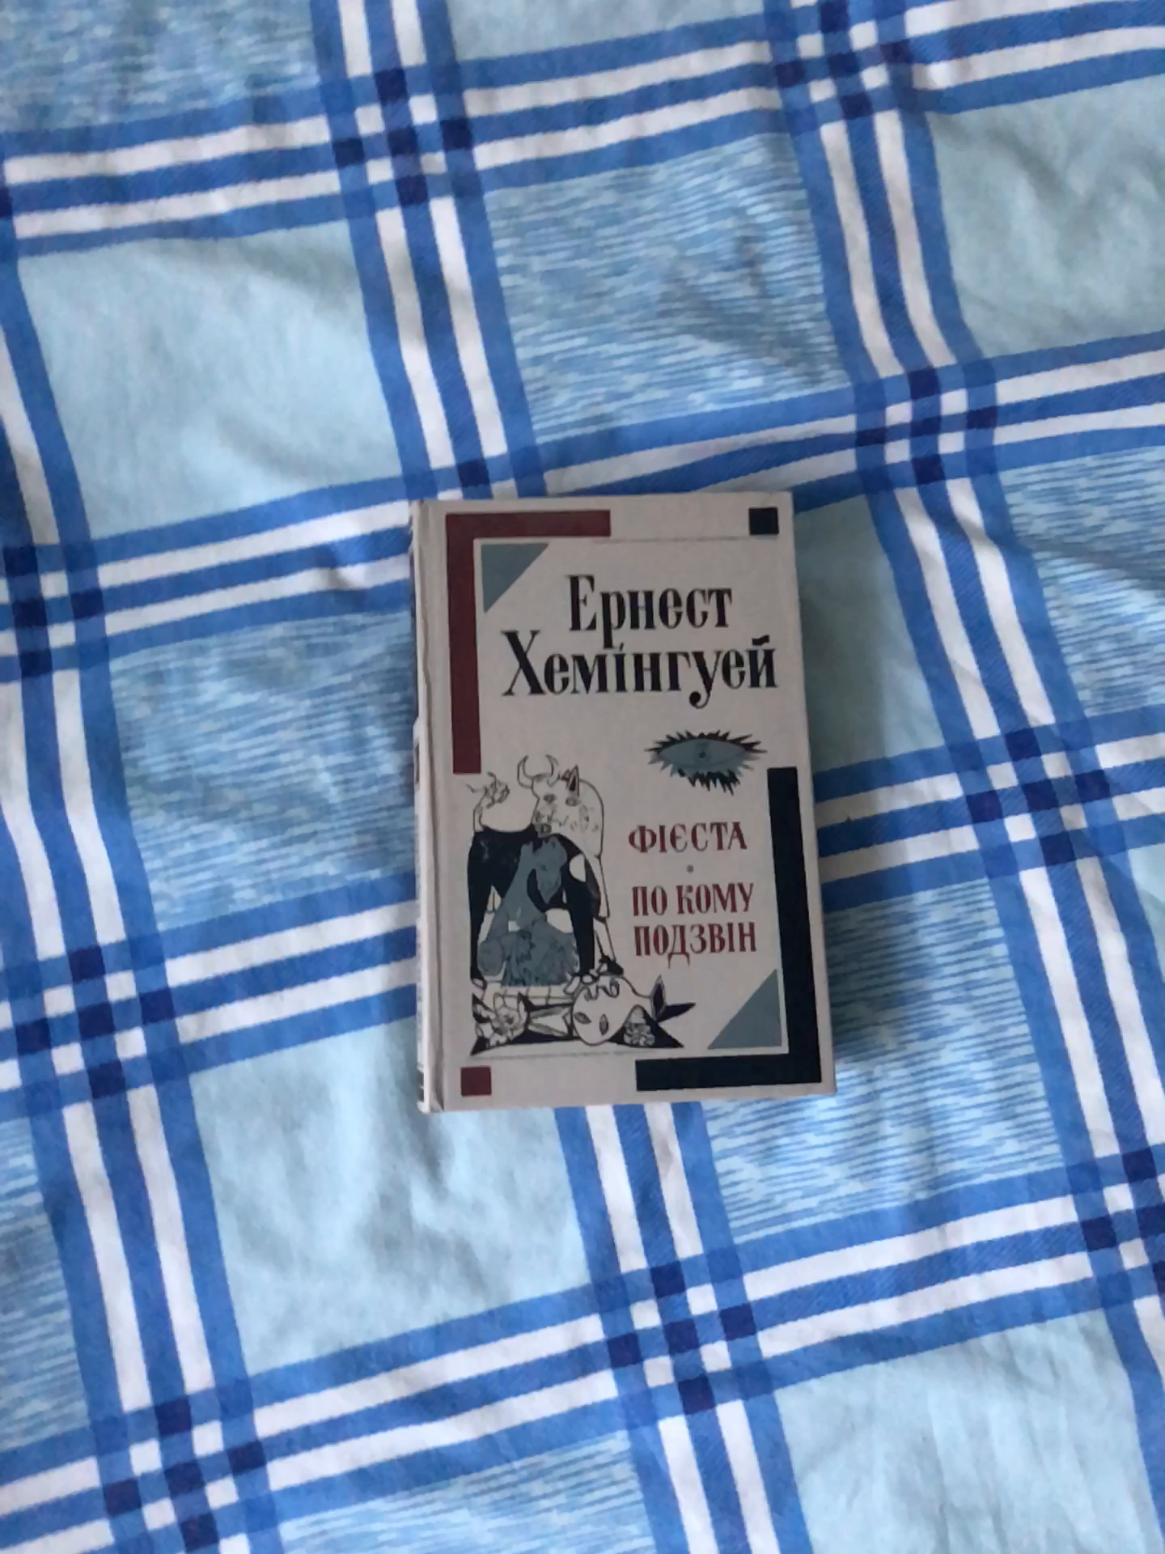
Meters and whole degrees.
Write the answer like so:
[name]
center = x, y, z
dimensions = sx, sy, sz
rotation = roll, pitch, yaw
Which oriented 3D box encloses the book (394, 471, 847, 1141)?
[book]
center = 0.009, 0.008, 0.448
dimensions = 0.142, 0.040, 0.220
rotation = -2, 81, -2
